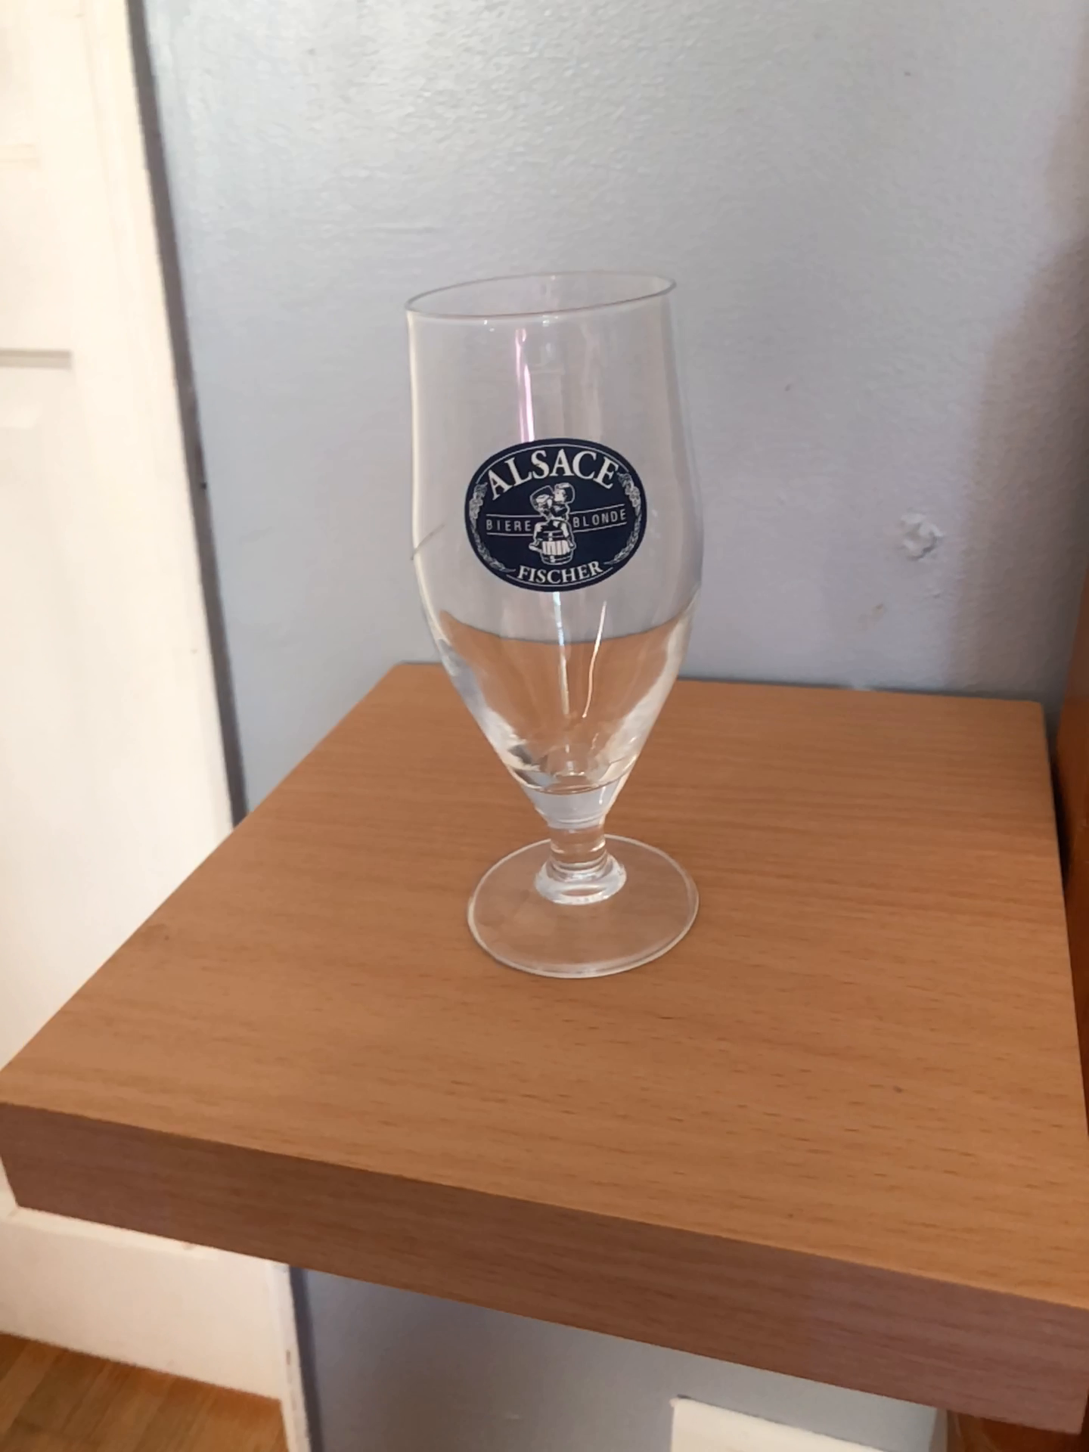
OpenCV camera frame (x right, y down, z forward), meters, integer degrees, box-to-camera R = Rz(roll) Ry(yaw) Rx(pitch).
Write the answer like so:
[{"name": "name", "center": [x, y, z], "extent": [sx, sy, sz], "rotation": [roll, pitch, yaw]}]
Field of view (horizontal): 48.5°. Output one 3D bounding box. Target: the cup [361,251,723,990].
[{"name": "cup", "center": [0.006, -0.024, 0.302], "extent": [0.068, 0.166, 0.068], "rotation": [-4, 26, 2]}]
